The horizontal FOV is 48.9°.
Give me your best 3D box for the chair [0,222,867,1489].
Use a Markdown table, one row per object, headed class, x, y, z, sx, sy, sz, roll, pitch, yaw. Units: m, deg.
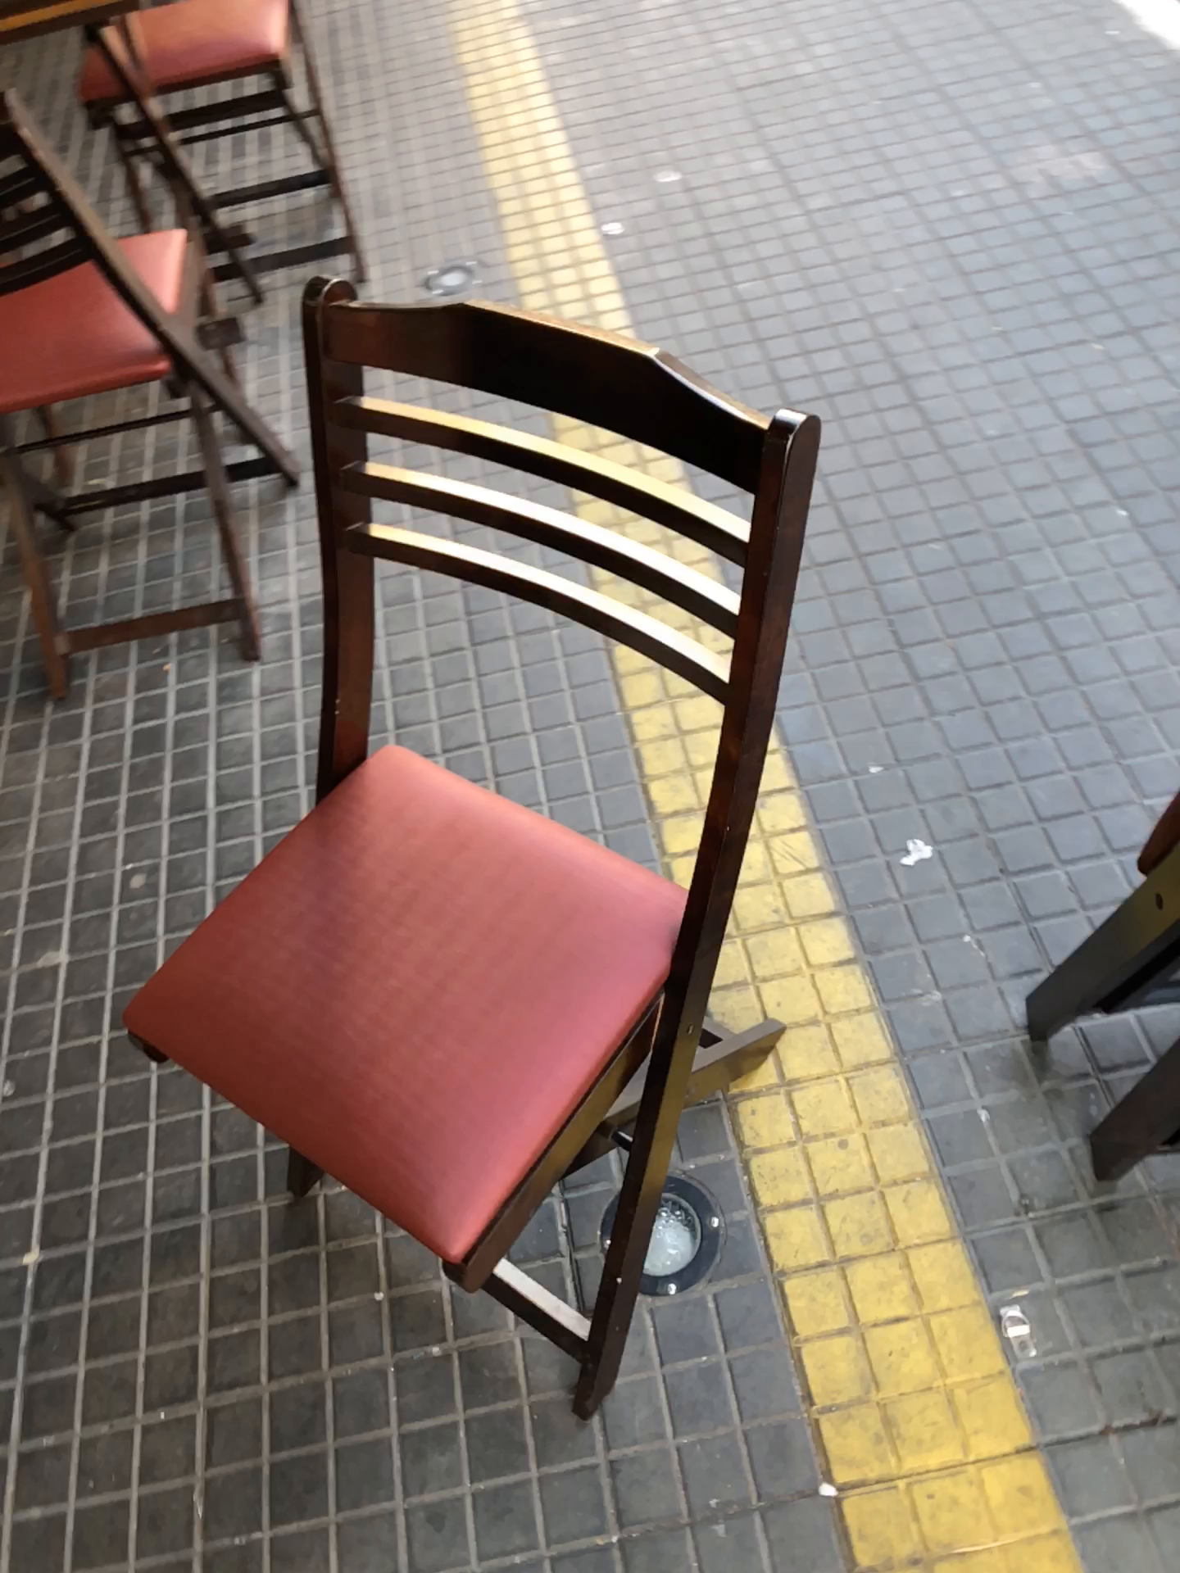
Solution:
| class | x | y | z | sx | sy | sz | roll | pitch | yaw |
| --- | --- | --- | --- | --- | --- | --- | --- | --- | --- |
| chair | -0.125 | 0.109 | 1.054 | 0.512 | 0.845 | 0.481 | 26 | 62 | 28 |
